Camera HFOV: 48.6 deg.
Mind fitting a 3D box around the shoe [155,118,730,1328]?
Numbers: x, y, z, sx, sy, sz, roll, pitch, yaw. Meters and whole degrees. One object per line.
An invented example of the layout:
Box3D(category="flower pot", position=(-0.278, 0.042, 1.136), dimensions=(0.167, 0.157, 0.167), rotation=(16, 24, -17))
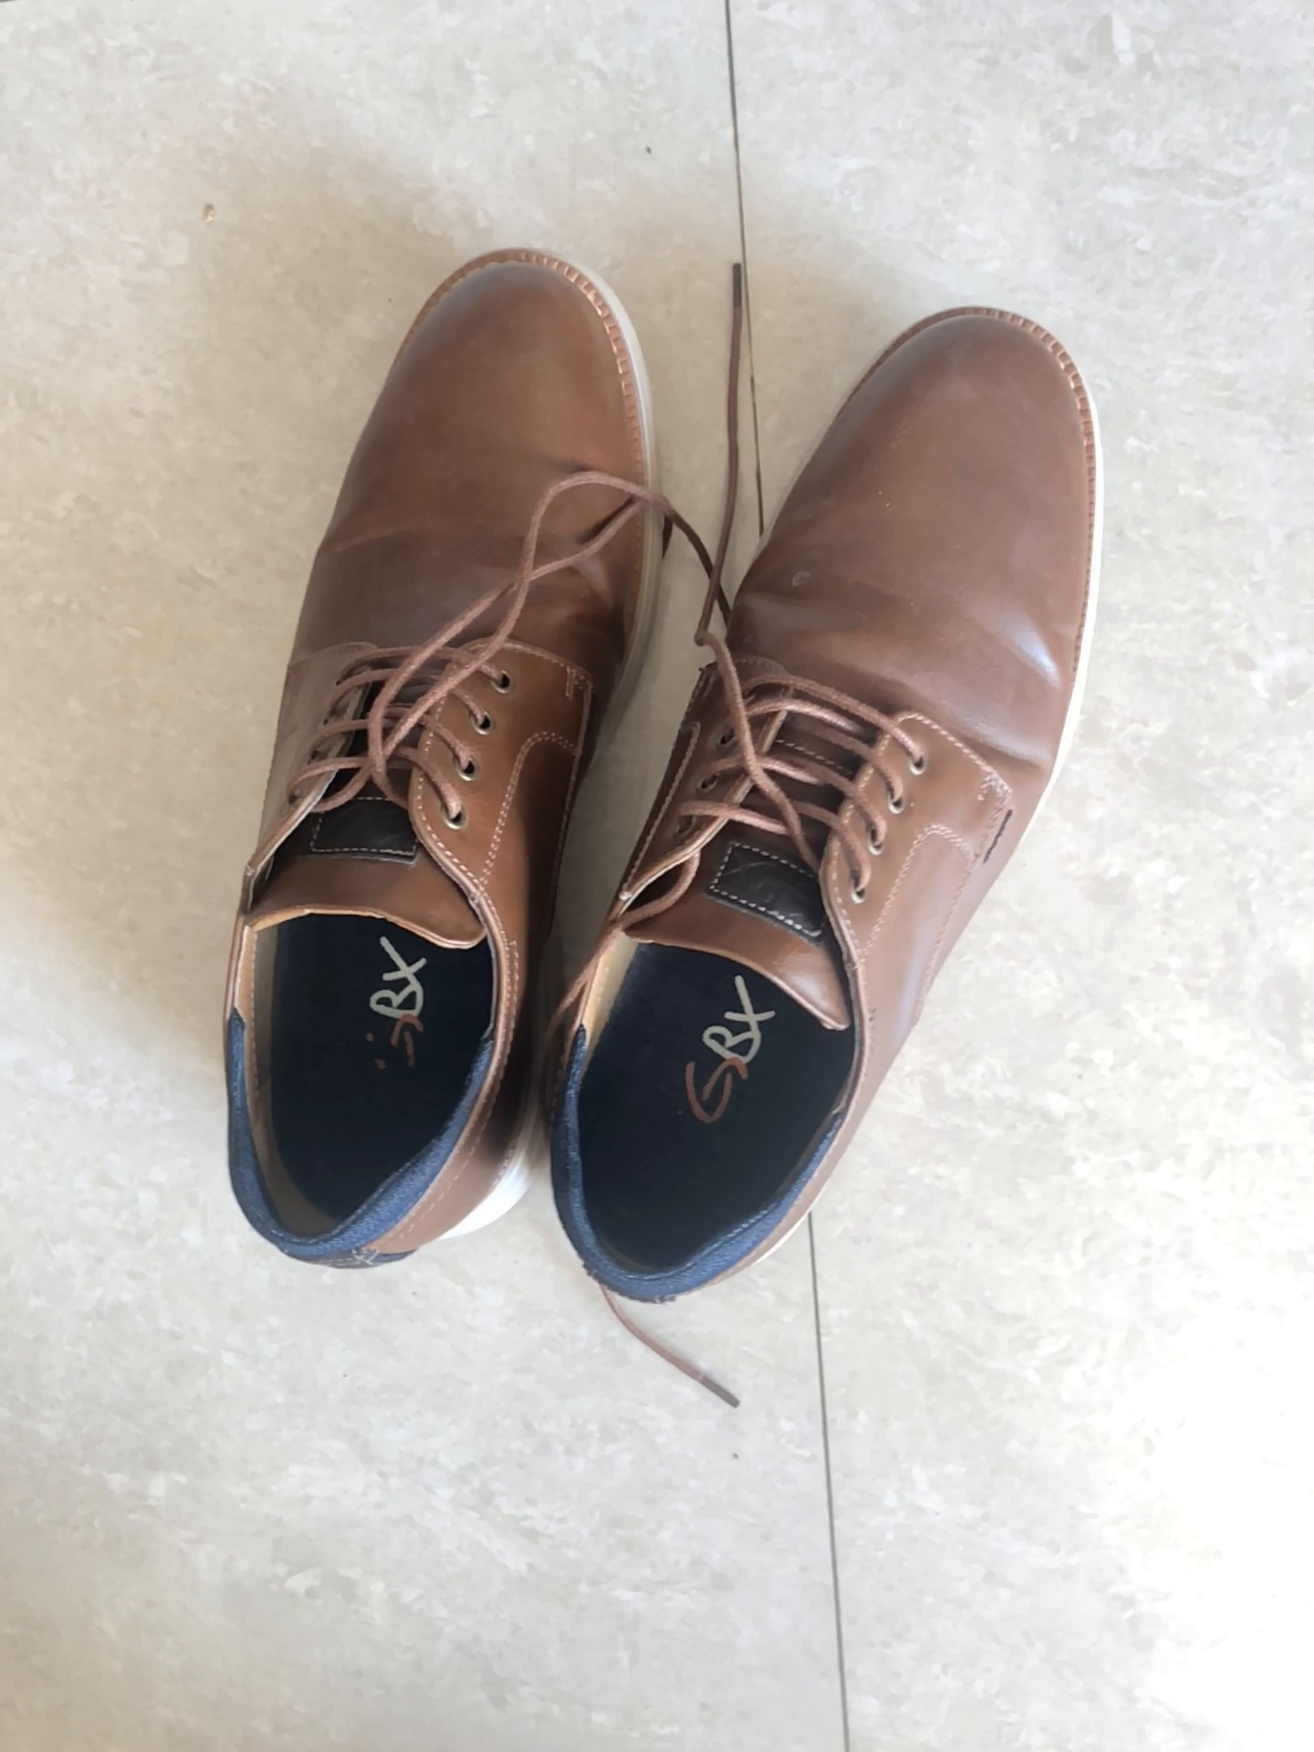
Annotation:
Box3D(category="shoe", position=(-0.056, -0.042, 0.436), dimensions=(0.100, 0.100, 0.310), rotation=(9, 91, 8))

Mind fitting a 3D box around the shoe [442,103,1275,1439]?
Box3D(category="shoe", position=(0.052, -0.025, 0.404), dimensions=(0.100, 0.100, 0.310), rotation=(20, 93, 7))
